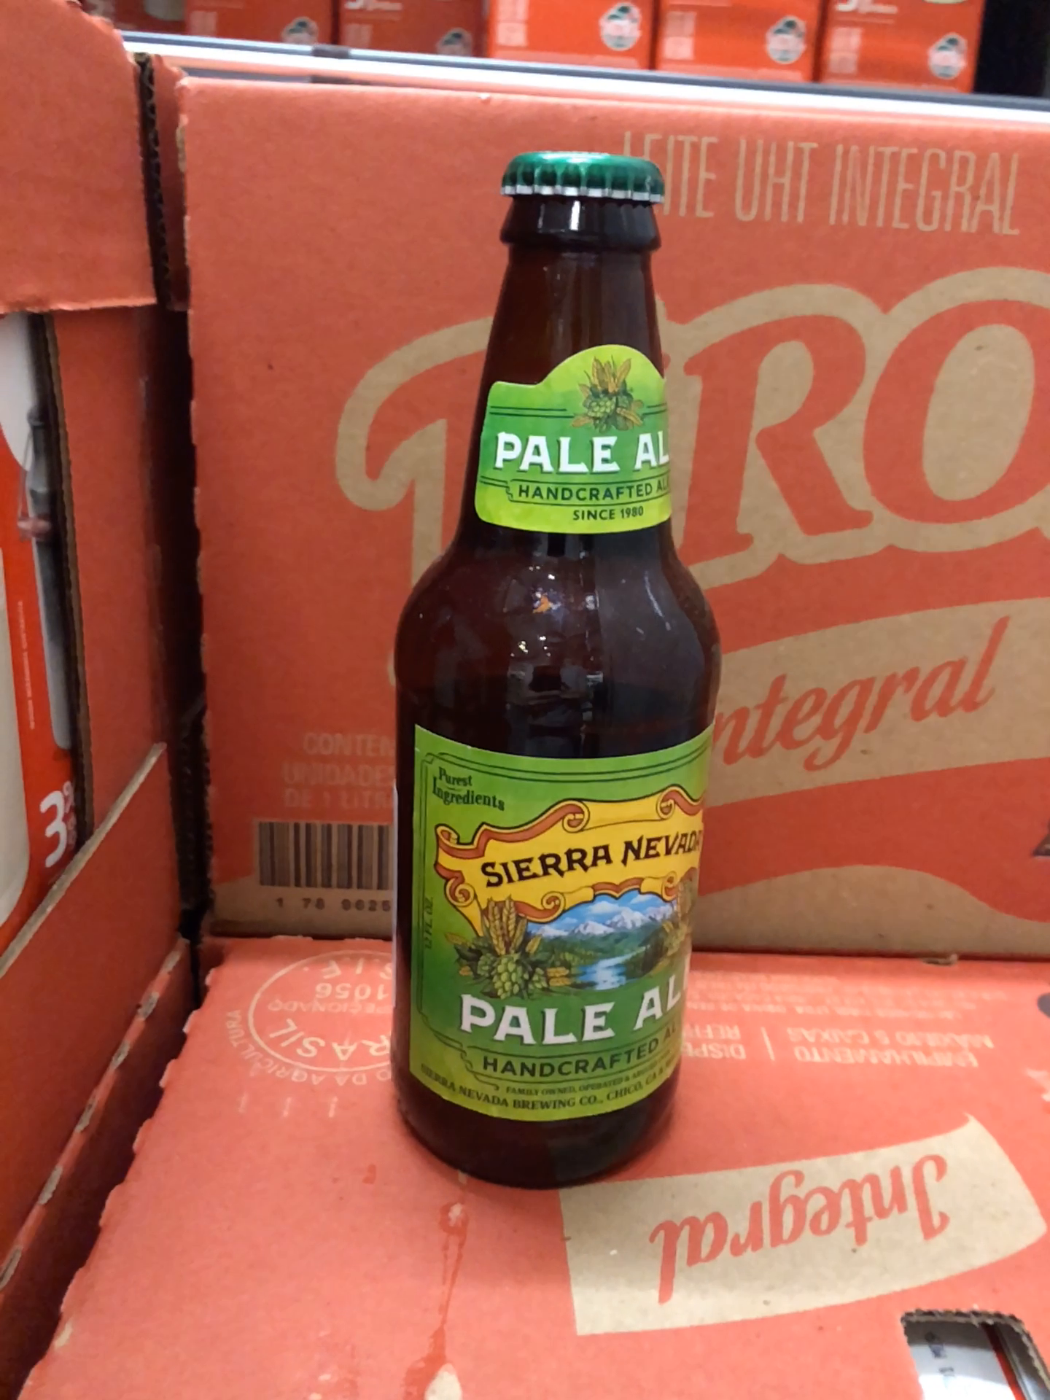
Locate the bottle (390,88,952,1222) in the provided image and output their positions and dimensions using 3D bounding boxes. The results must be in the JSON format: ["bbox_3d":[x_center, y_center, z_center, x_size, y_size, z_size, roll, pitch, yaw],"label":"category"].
[{"bbox_3d":[0.017,-0.004,0.225,0.070,0.189,0.060,-2,19,-17],"label":"bottle"}]
